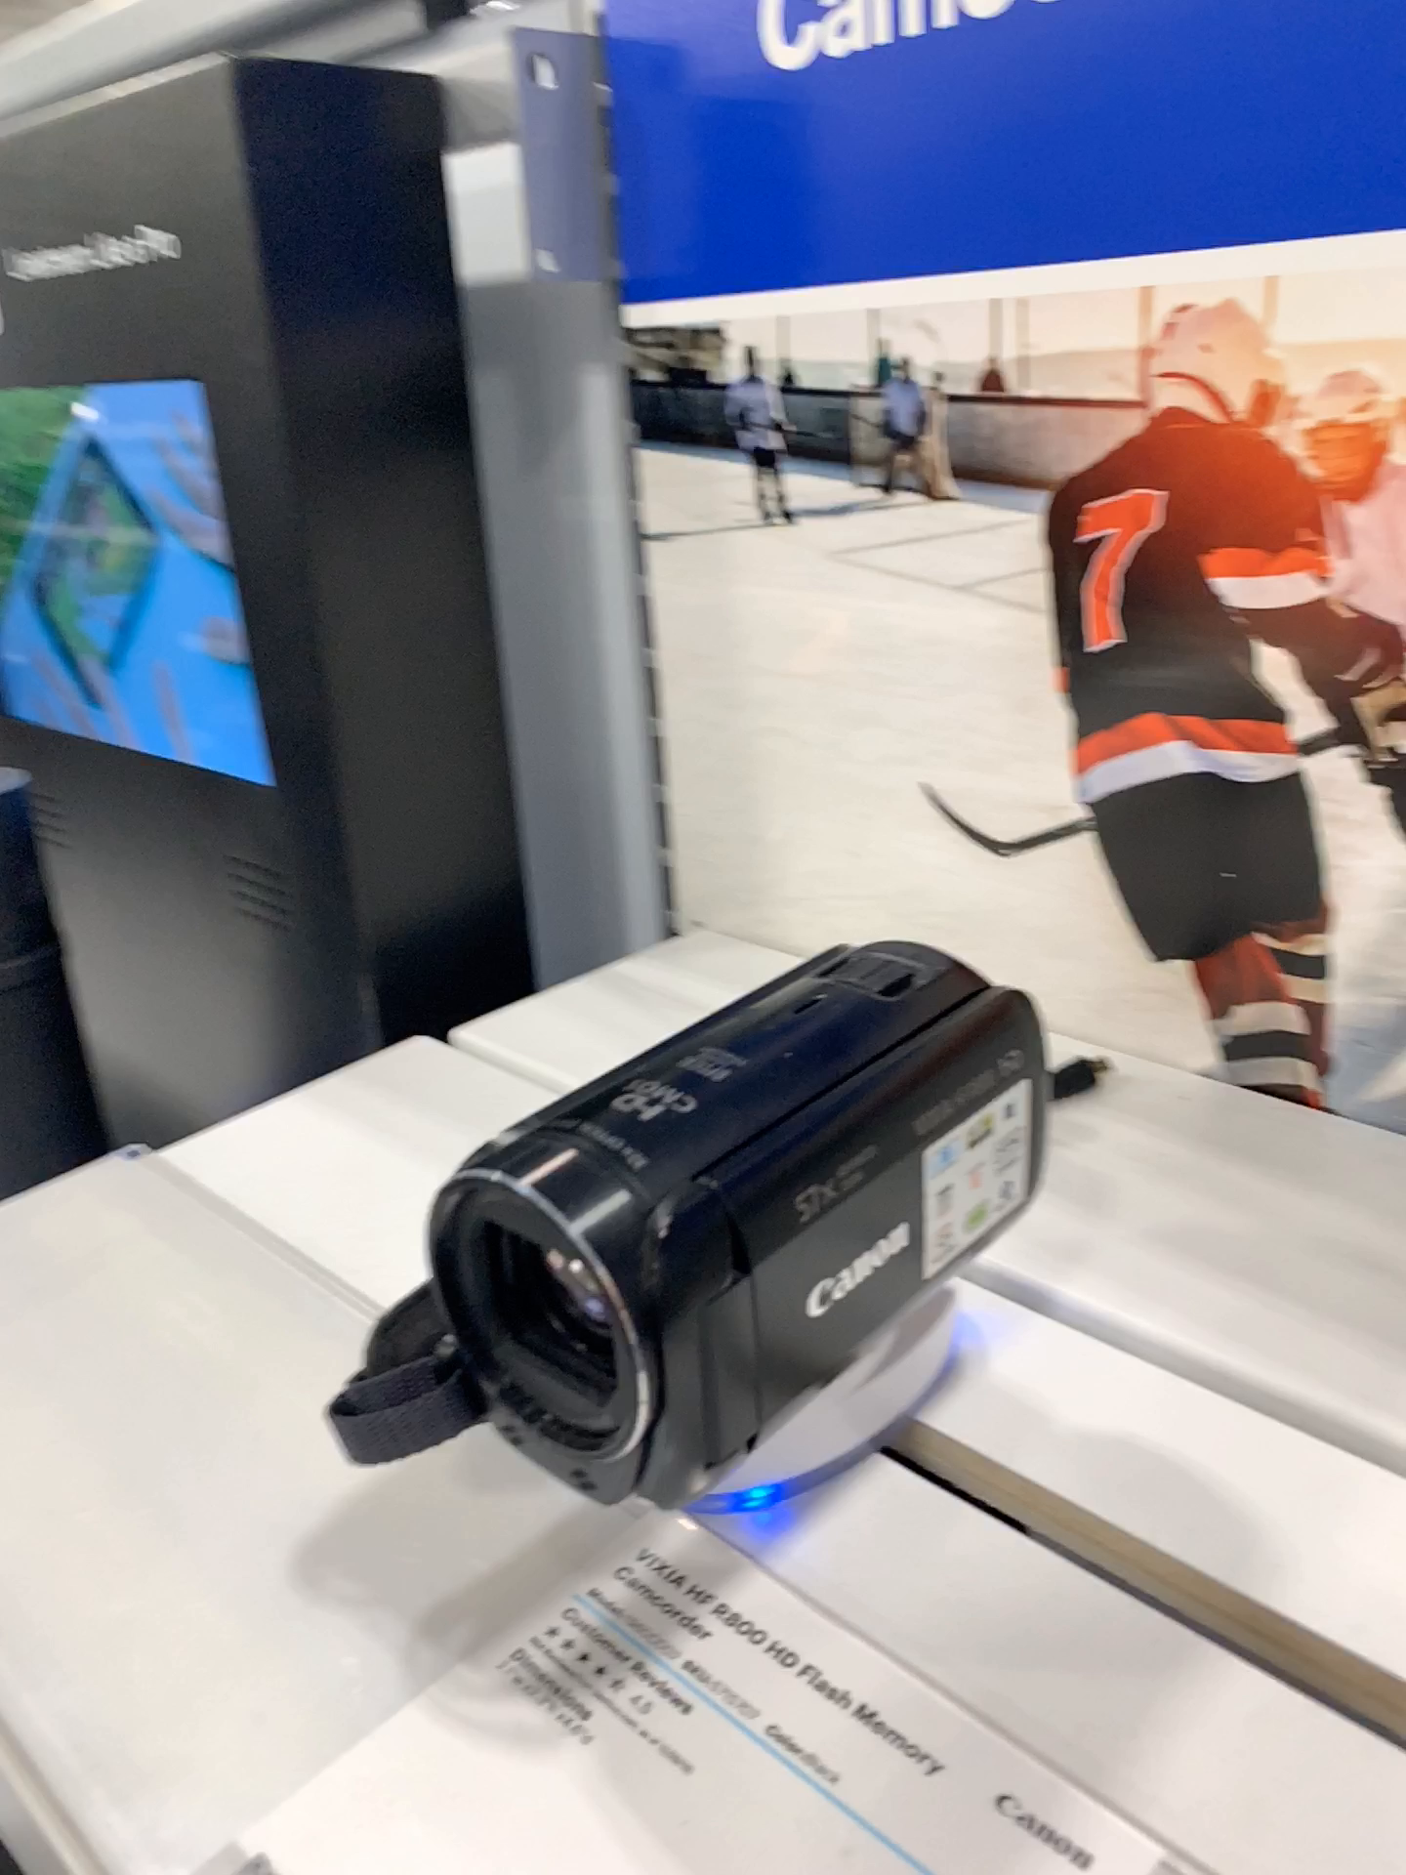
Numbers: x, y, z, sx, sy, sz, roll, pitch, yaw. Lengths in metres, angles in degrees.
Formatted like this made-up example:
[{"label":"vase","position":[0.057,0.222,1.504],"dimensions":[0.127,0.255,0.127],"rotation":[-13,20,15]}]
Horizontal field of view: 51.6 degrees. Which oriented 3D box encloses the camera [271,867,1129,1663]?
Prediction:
[{"label":"camera","position":[0.008,0.043,0.262],"dimensions":[0.072,0.062,0.140],"rotation":[17,30,41]}]
